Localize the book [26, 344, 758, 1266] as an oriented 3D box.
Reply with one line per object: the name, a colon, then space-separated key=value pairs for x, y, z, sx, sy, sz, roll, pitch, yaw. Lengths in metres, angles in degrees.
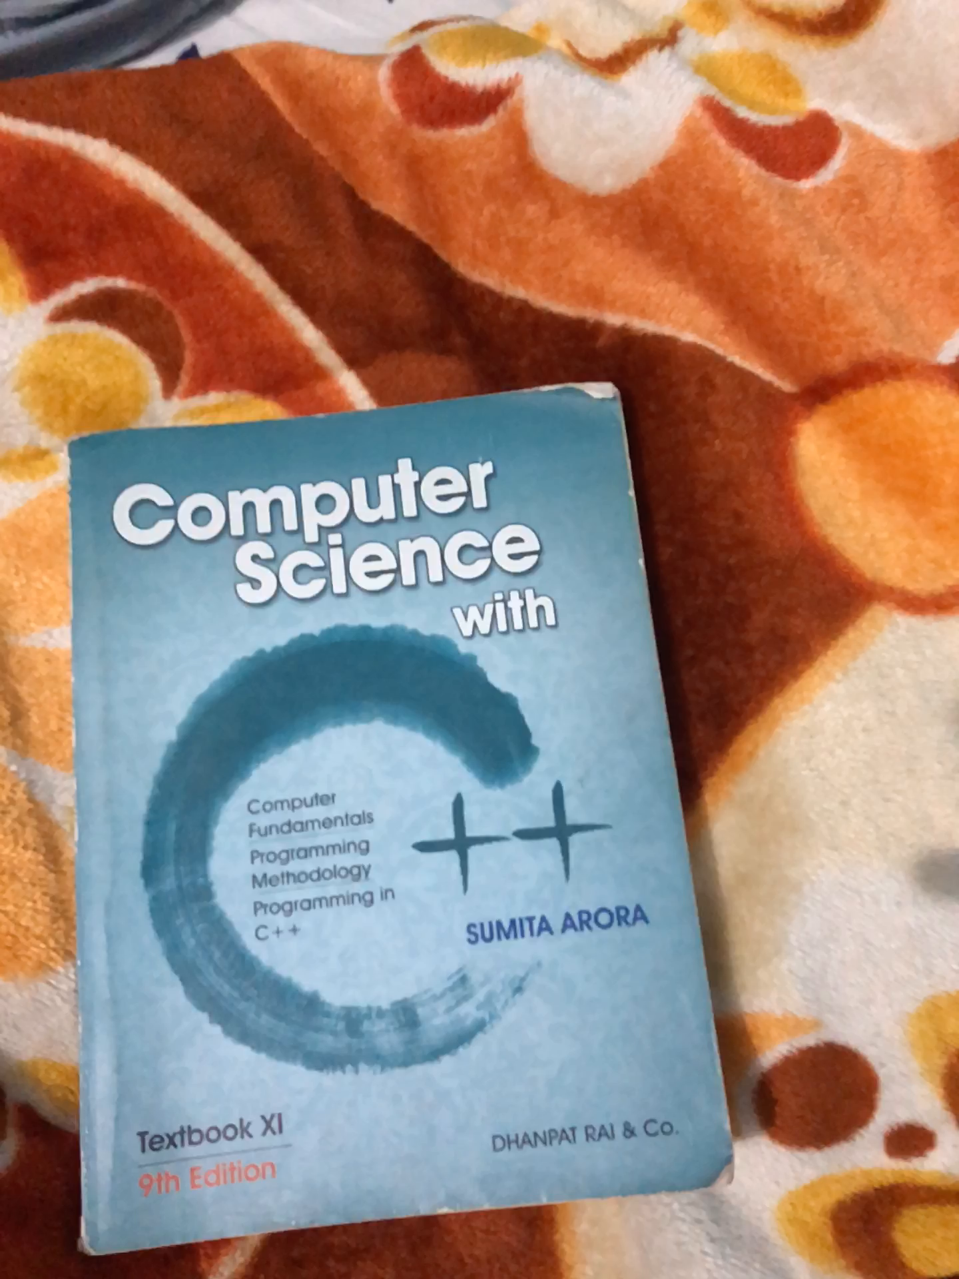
book: x=-0.037 y=0.042 z=0.360 sx=0.210 sy=0.040 sz=0.270 roll=-5 pitch=77 yaw=-3
